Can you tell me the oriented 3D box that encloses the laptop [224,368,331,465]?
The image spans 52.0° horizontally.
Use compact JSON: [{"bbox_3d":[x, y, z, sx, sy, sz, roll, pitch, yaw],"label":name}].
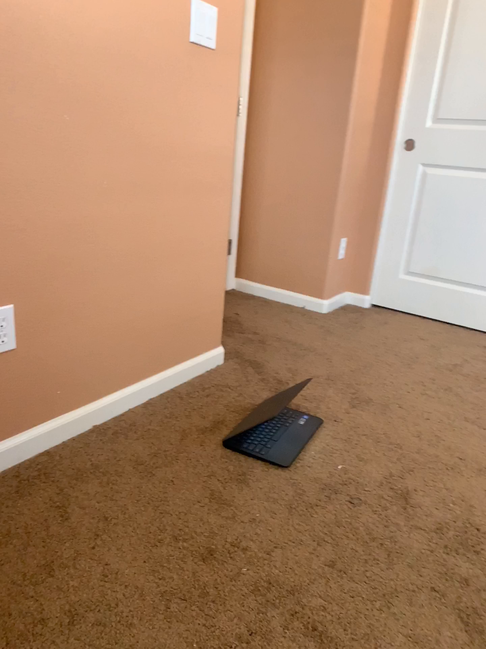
[{"bbox_3d":[0.107,0.253,1.450,0.194,0.127,0.290,12,20,25],"label":"laptop"}]
